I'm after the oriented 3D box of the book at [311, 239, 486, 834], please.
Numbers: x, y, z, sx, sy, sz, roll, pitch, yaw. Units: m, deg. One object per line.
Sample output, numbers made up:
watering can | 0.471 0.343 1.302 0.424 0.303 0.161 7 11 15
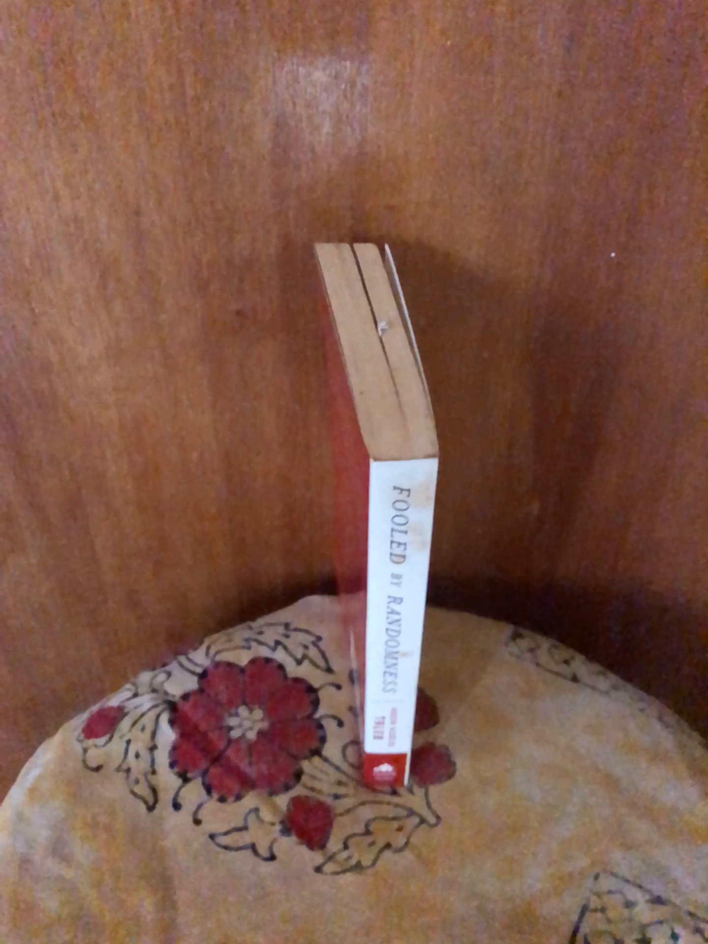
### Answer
book | 0.006 0.025 0.344 0.040 0.199 0.161 -2 36 -6
